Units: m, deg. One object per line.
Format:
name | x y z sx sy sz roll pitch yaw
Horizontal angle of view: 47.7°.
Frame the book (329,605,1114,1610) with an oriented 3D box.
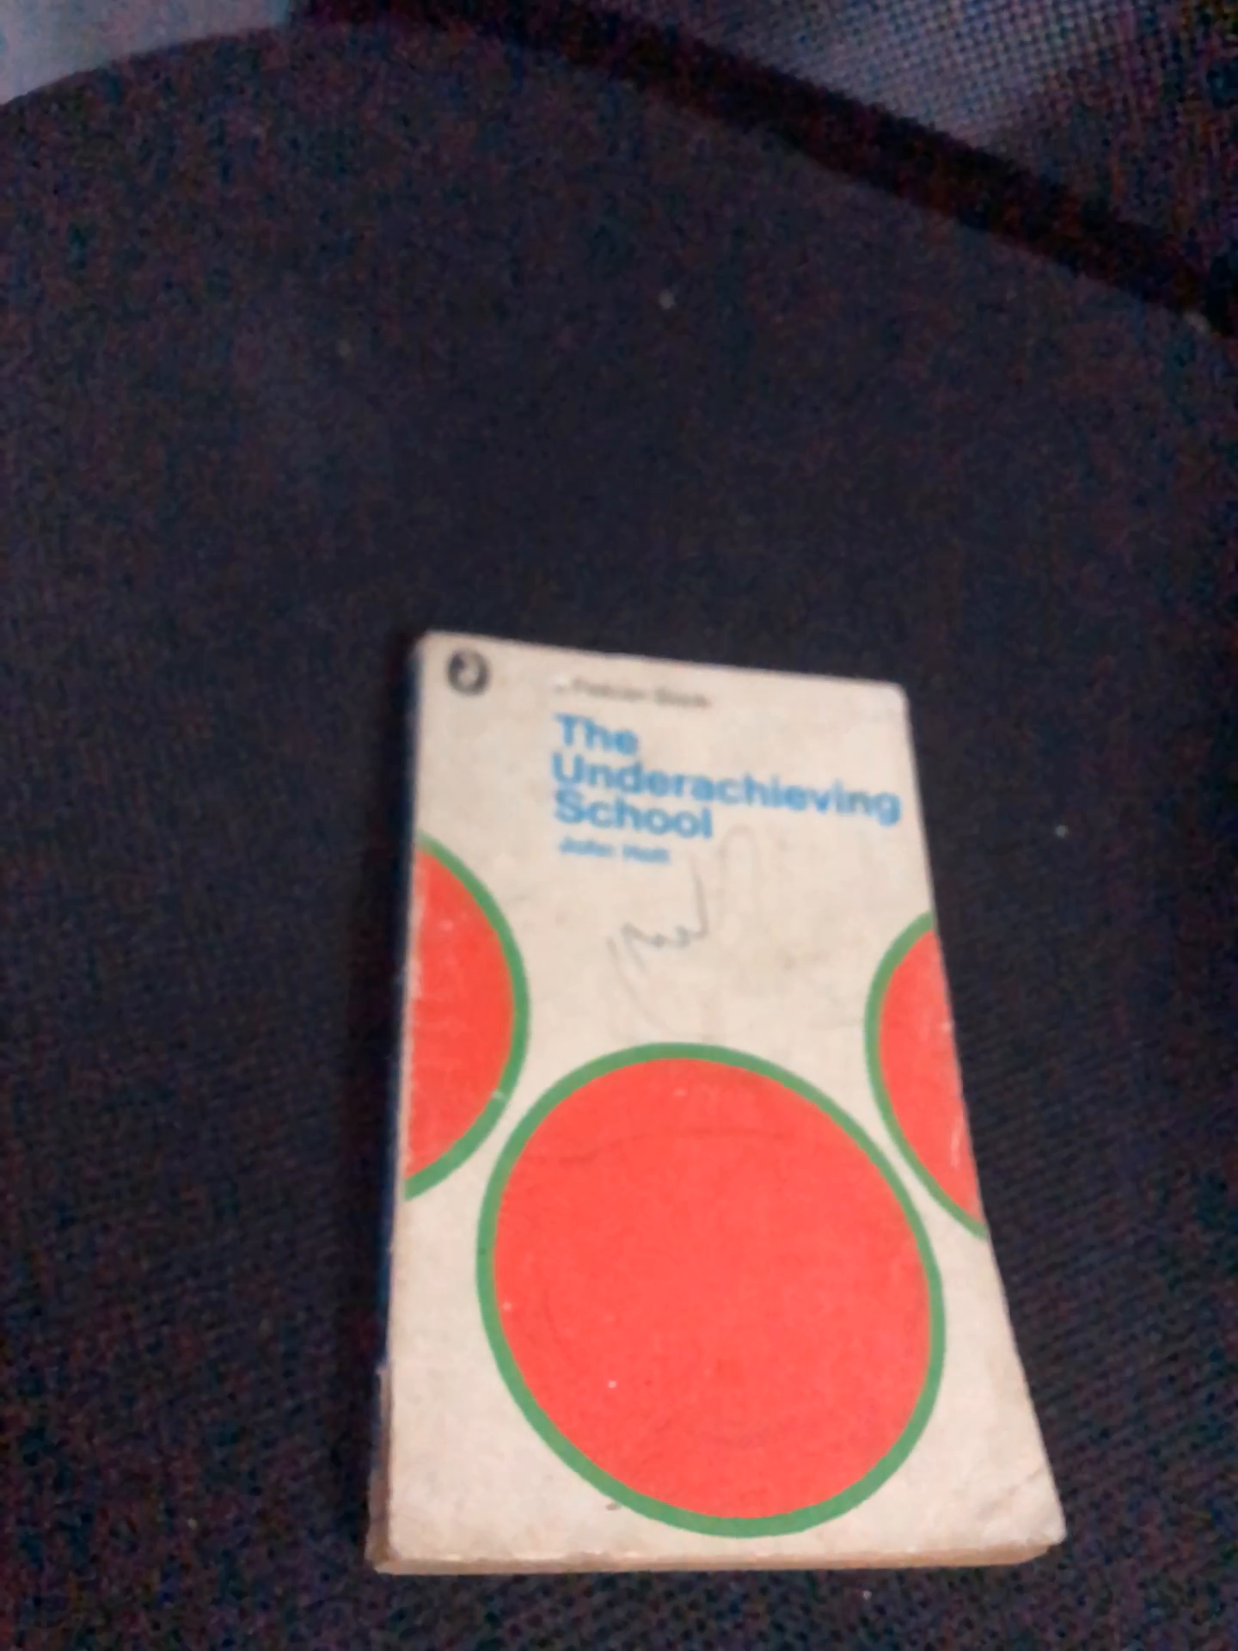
book | 0.013 0.041 0.264 0.120 0.020 0.182 6 55 -14
